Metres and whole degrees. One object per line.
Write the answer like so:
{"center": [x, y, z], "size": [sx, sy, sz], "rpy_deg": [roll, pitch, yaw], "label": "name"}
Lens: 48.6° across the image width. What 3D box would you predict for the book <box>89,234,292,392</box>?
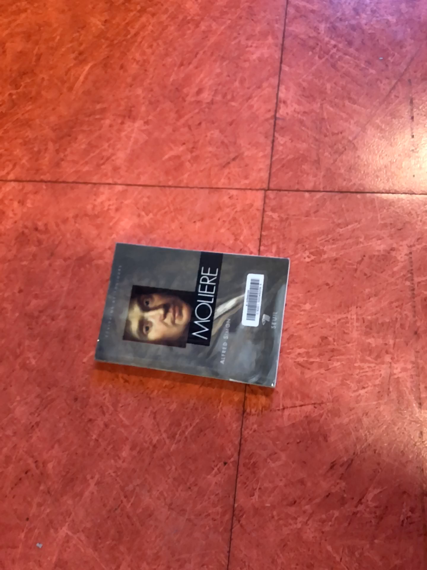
{"center": [-0.022, 0.023, 0.463], "size": [0.183, 0.015, 0.134], "rpy_deg": [6, 79, 12], "label": "book"}
